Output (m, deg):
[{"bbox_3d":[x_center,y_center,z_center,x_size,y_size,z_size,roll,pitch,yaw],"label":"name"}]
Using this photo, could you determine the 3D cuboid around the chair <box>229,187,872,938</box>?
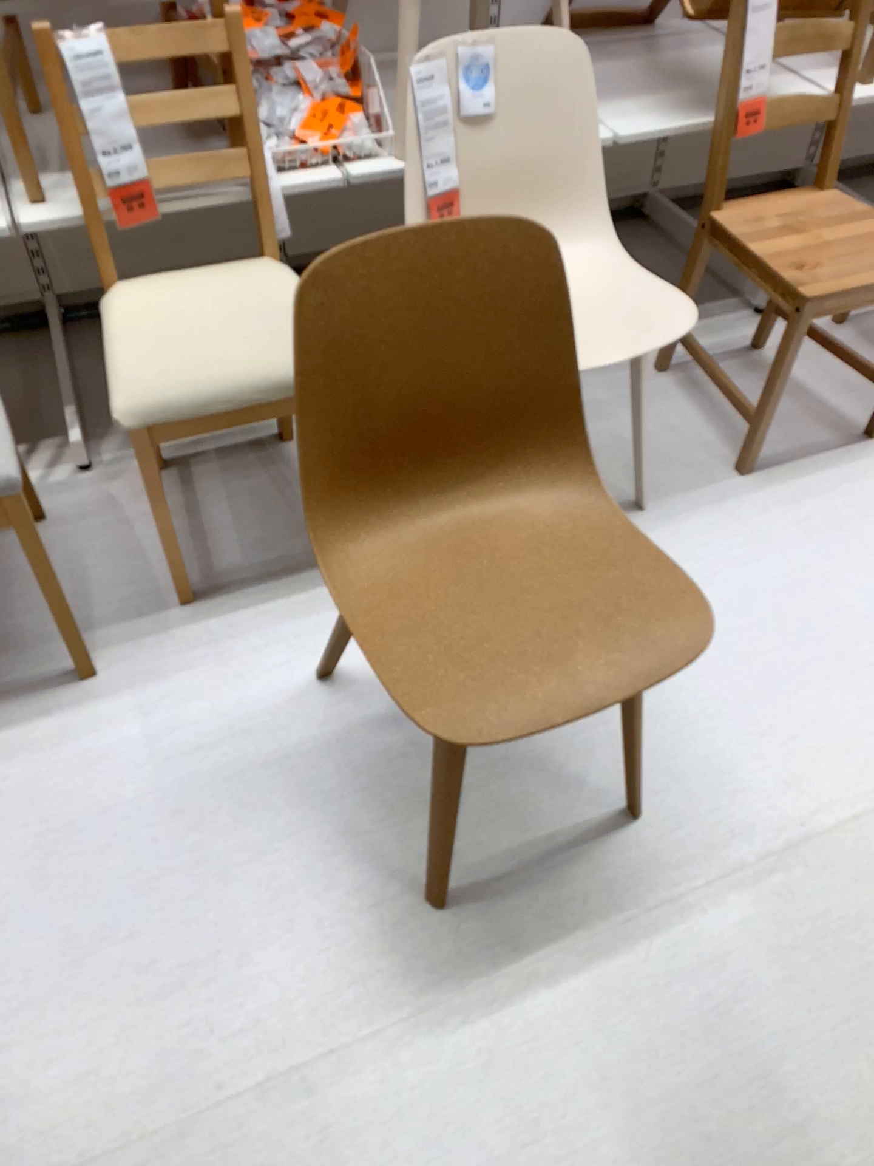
[{"bbox_3d":[0.070,-0.012,1.204,0.460,0.757,0.562,-17,50,-18],"label":"chair"}]
